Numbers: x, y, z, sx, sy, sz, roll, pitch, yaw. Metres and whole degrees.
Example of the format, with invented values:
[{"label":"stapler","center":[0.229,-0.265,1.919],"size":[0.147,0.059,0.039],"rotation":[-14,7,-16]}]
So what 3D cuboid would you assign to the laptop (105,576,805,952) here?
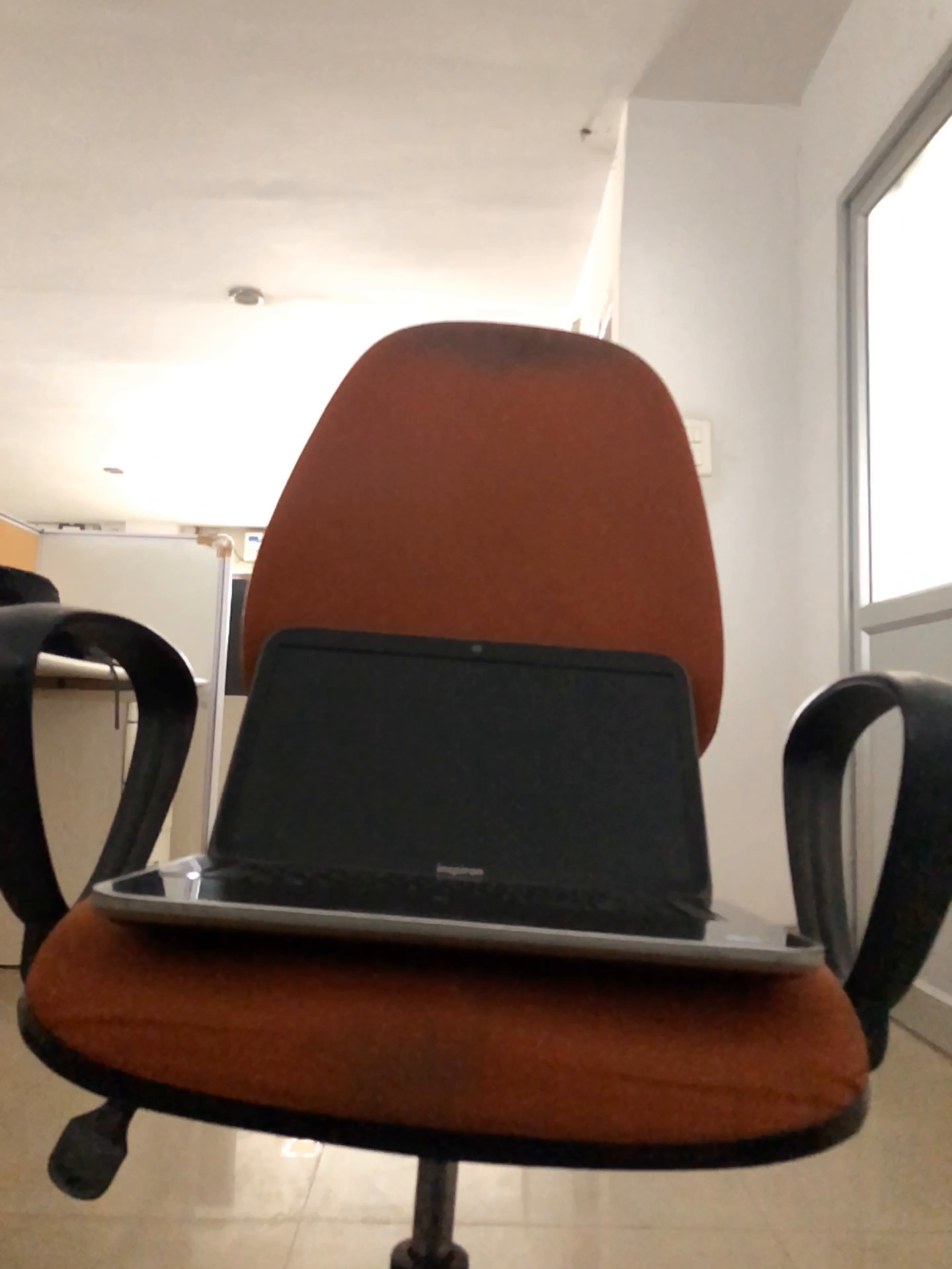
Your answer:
[{"label":"laptop","center":[-0.011,0.076,0.702],"size":[0.352,0.174,0.350],"rotation":[2,-5,2]}]
